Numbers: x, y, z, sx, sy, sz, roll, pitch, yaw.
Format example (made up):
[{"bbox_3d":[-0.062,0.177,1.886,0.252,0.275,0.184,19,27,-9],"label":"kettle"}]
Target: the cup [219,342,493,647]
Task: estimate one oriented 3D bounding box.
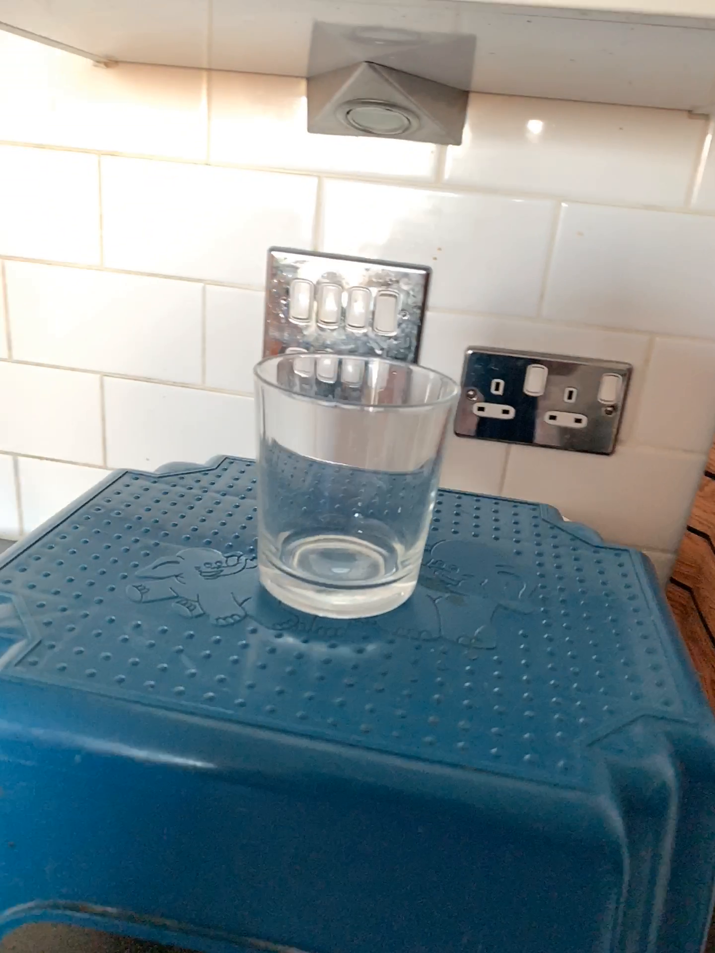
[{"bbox_3d":[-0.001,0.001,0.288,0.076,0.085,0.067,17,24,26],"label":"cup"}]
